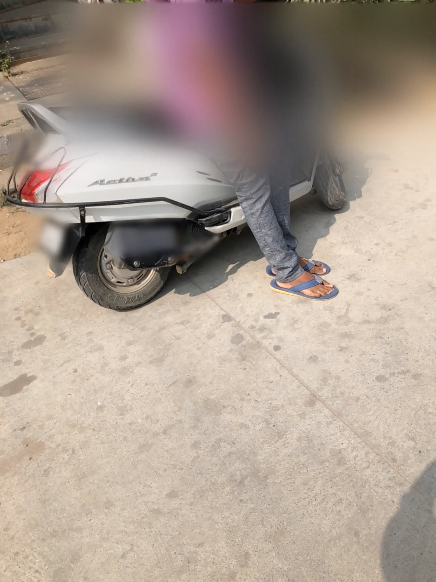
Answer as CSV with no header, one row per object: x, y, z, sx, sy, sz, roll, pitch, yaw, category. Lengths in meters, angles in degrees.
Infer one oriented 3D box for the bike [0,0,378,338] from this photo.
-0.068,-0.717,2.078,1.528,1.008,0.648,-34,47,-30,bike
